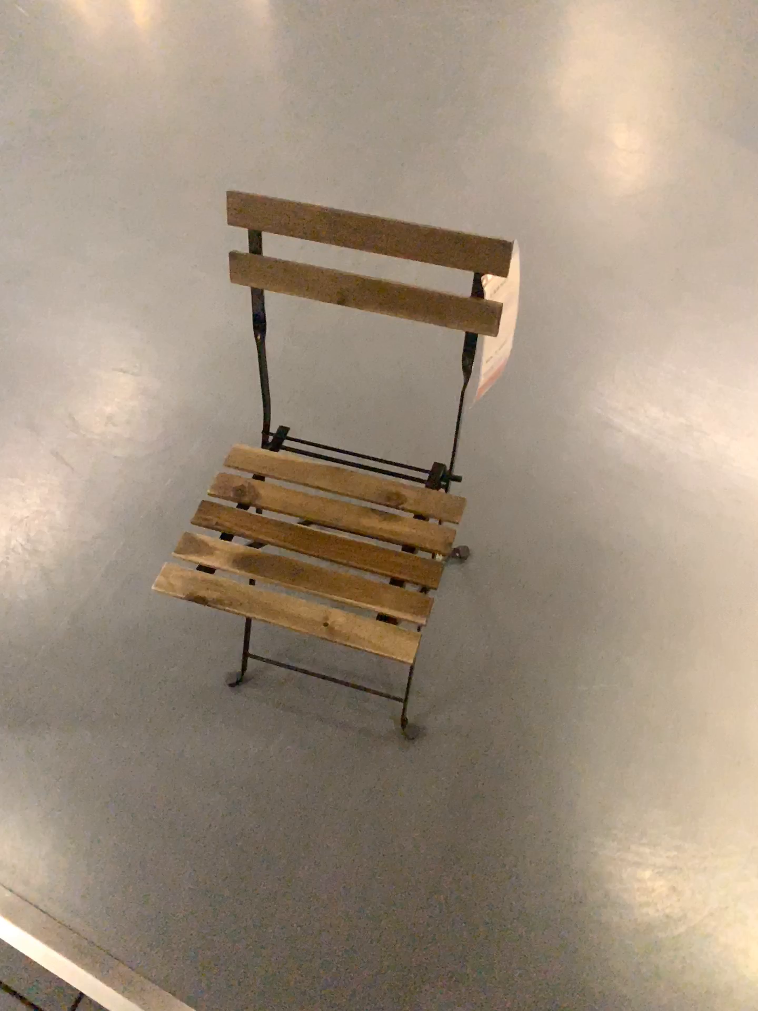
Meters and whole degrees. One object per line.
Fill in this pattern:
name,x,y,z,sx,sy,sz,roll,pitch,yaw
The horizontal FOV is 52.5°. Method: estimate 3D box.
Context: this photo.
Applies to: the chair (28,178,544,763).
chair,-0.062,-0.001,1.164,0.430,0.698,0.501,14,61,12
